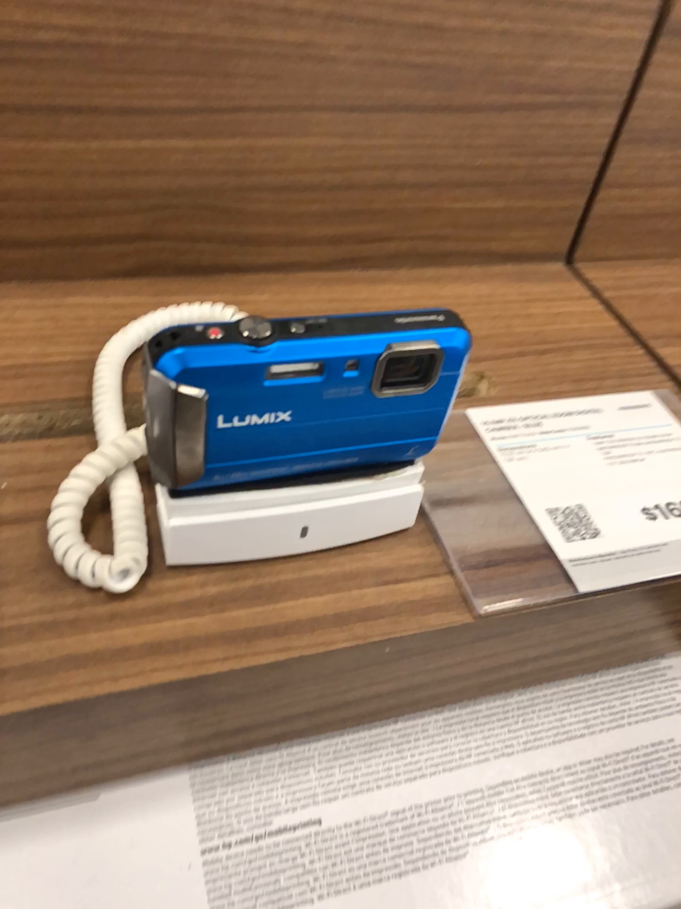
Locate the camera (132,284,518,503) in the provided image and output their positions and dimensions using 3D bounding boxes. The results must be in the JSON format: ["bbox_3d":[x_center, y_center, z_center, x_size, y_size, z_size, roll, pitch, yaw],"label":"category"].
[{"bbox_3d":[-0.006,-0.019,0.237,0.110,0.060,0.020,-7,48,-18],"label":"camera"}]
